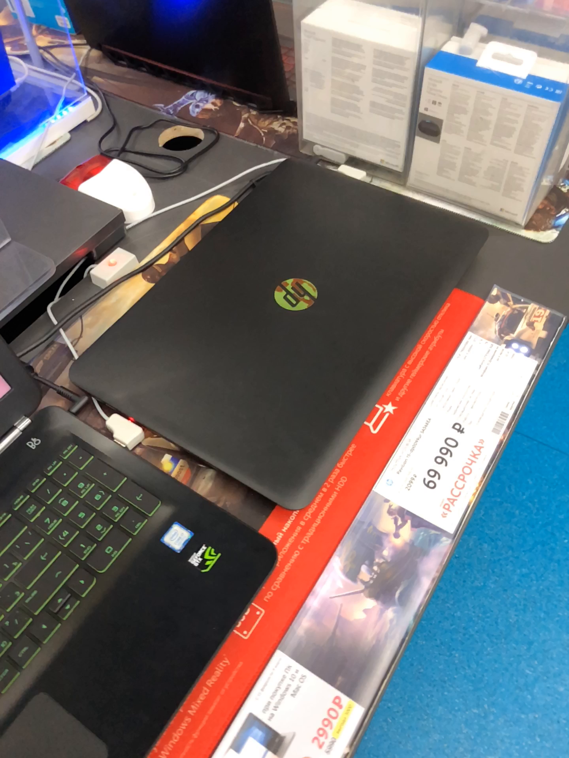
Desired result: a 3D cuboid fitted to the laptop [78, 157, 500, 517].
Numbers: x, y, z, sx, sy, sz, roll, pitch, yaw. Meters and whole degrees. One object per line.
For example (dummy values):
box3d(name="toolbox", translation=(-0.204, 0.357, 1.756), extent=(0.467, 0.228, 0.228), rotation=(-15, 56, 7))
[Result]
box3d(name="laptop", translation=(0.021, -0.077, 0.600), extent=(0.239, 0.006, 0.373), rotation=(27, 60, 20))
